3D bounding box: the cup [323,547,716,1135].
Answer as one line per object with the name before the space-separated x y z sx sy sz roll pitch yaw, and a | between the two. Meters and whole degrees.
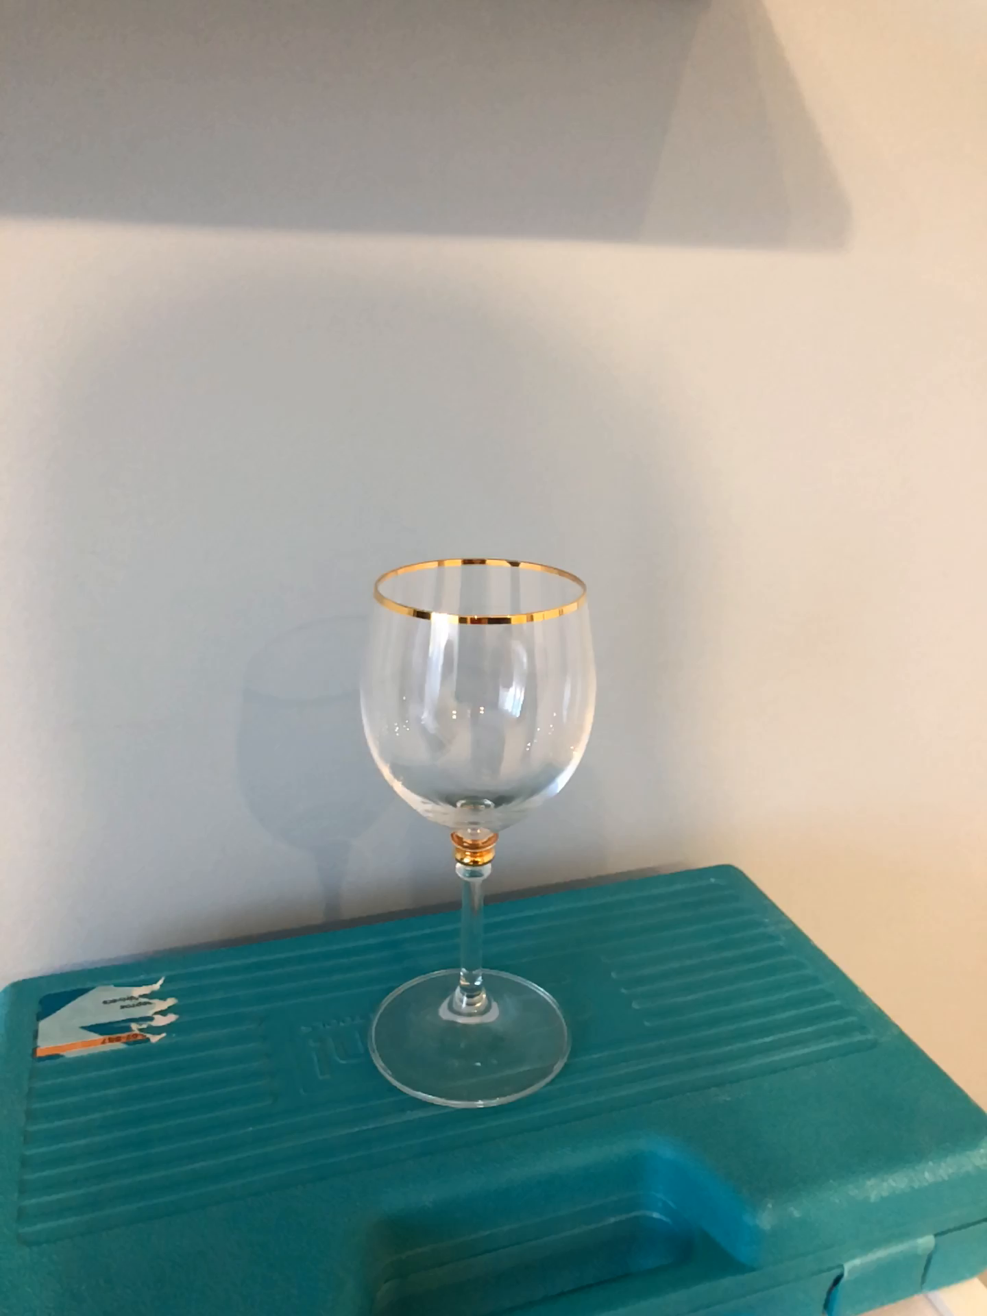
cup | 0.000 0.054 0.373 0.100 0.159 0.100 2 19 -1
